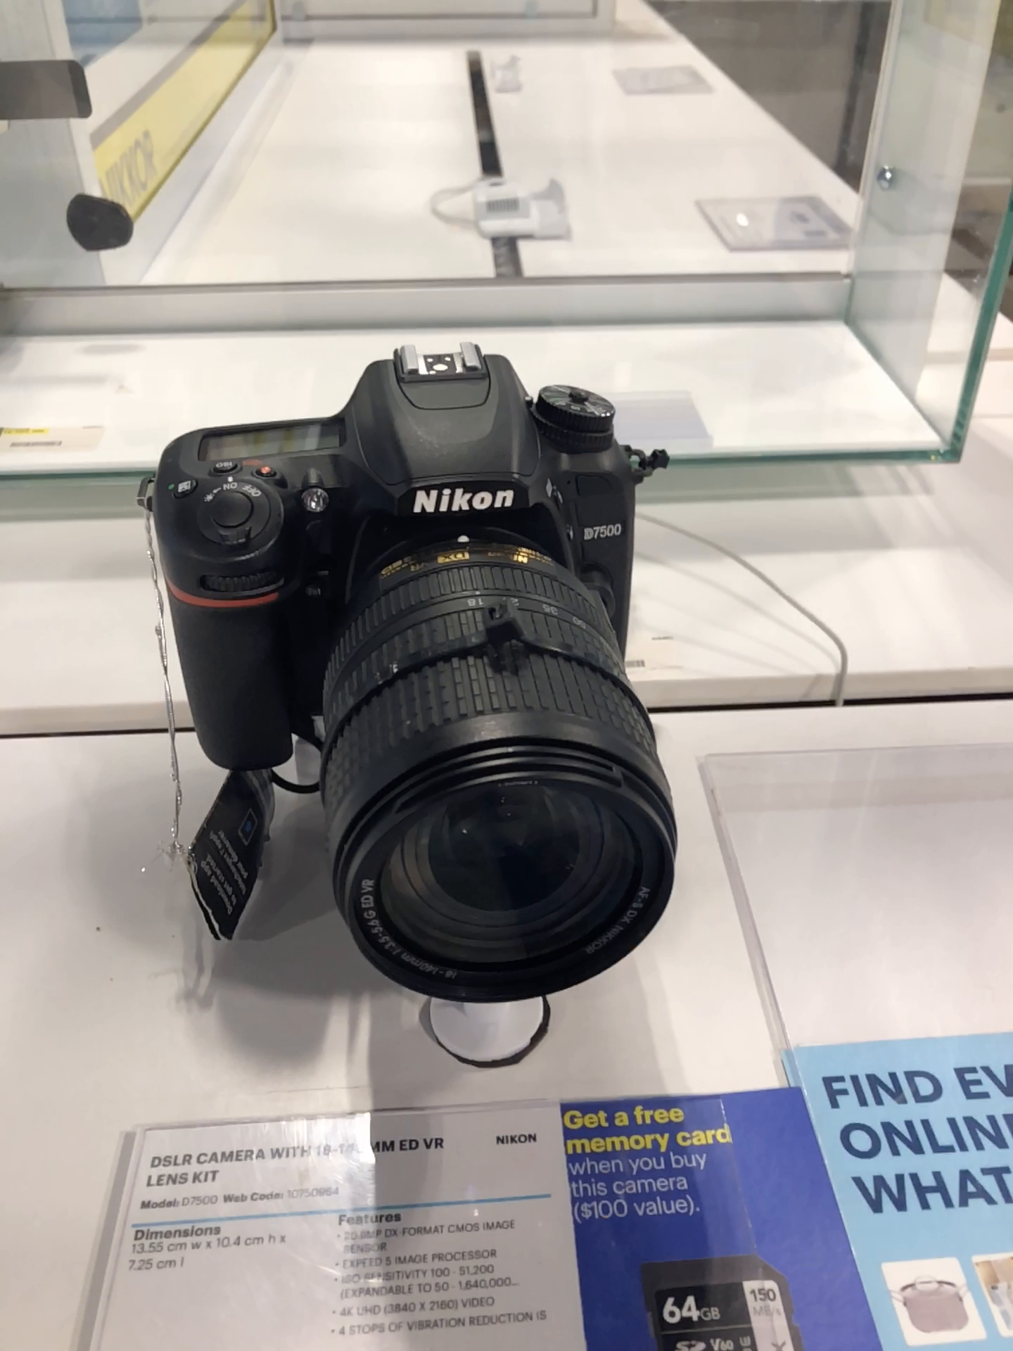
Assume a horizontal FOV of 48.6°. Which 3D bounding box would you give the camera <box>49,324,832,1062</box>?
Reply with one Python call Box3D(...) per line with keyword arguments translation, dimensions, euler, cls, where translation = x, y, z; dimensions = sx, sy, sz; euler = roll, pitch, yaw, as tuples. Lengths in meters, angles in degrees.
Box3D(translation=(-0.023, -0.014, 0.302), dimensions=(0.140, 0.089, 0.191), euler=(-5, 37, -7), cls="camera")
